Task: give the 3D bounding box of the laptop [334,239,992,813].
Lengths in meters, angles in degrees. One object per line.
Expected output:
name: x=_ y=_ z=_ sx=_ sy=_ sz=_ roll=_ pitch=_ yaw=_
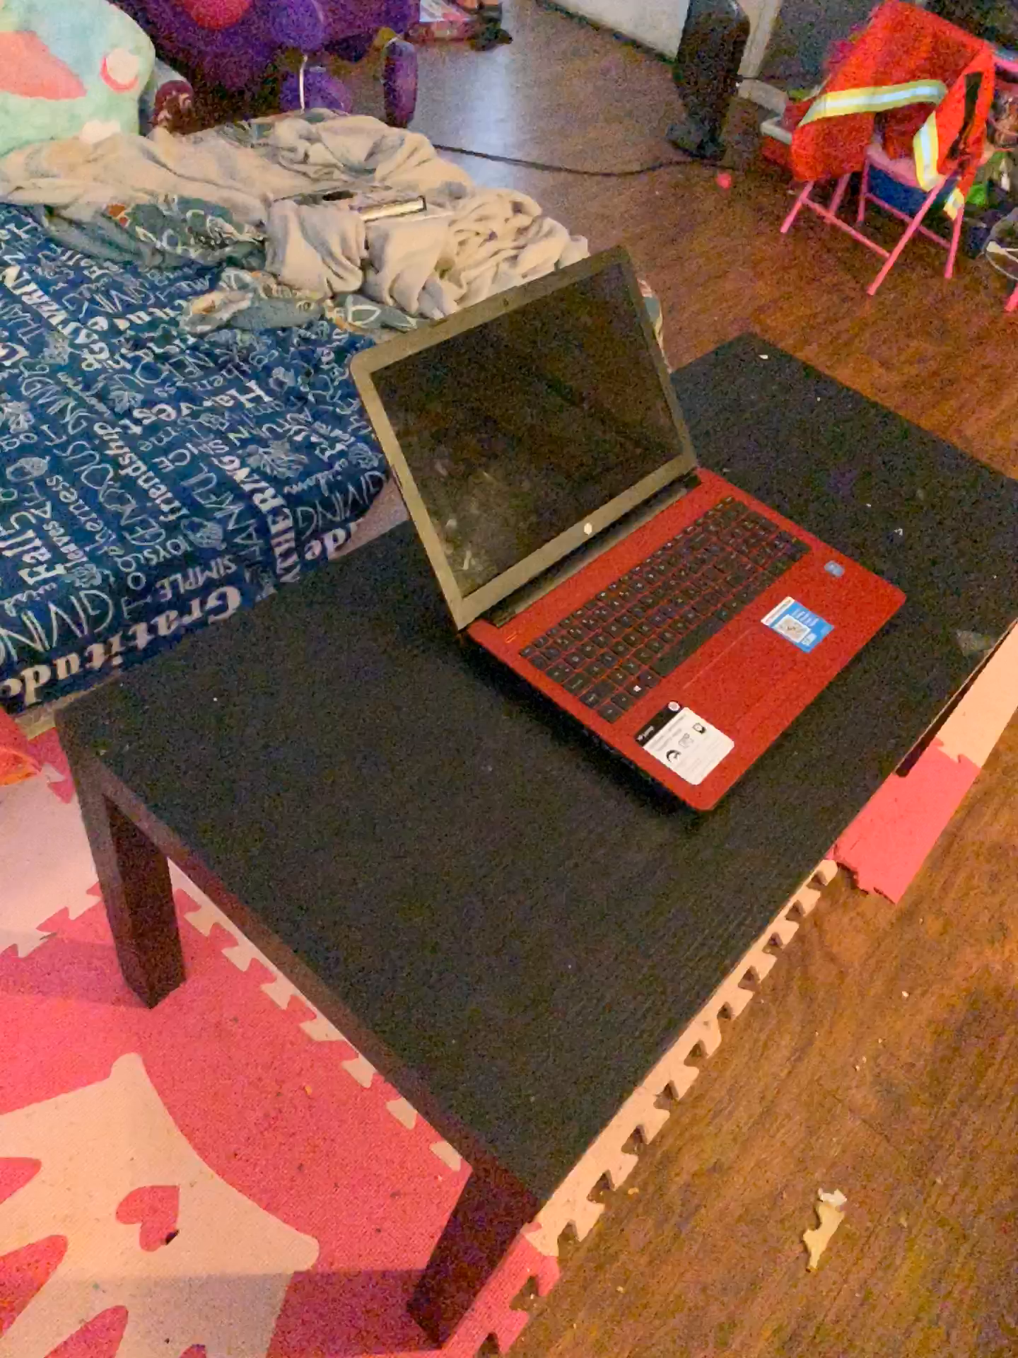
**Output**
laptop: x=0.130 y=-0.166 z=0.910 sx=0.410 sy=0.169 sz=0.377 roll=38 pitch=51 yaw=19
